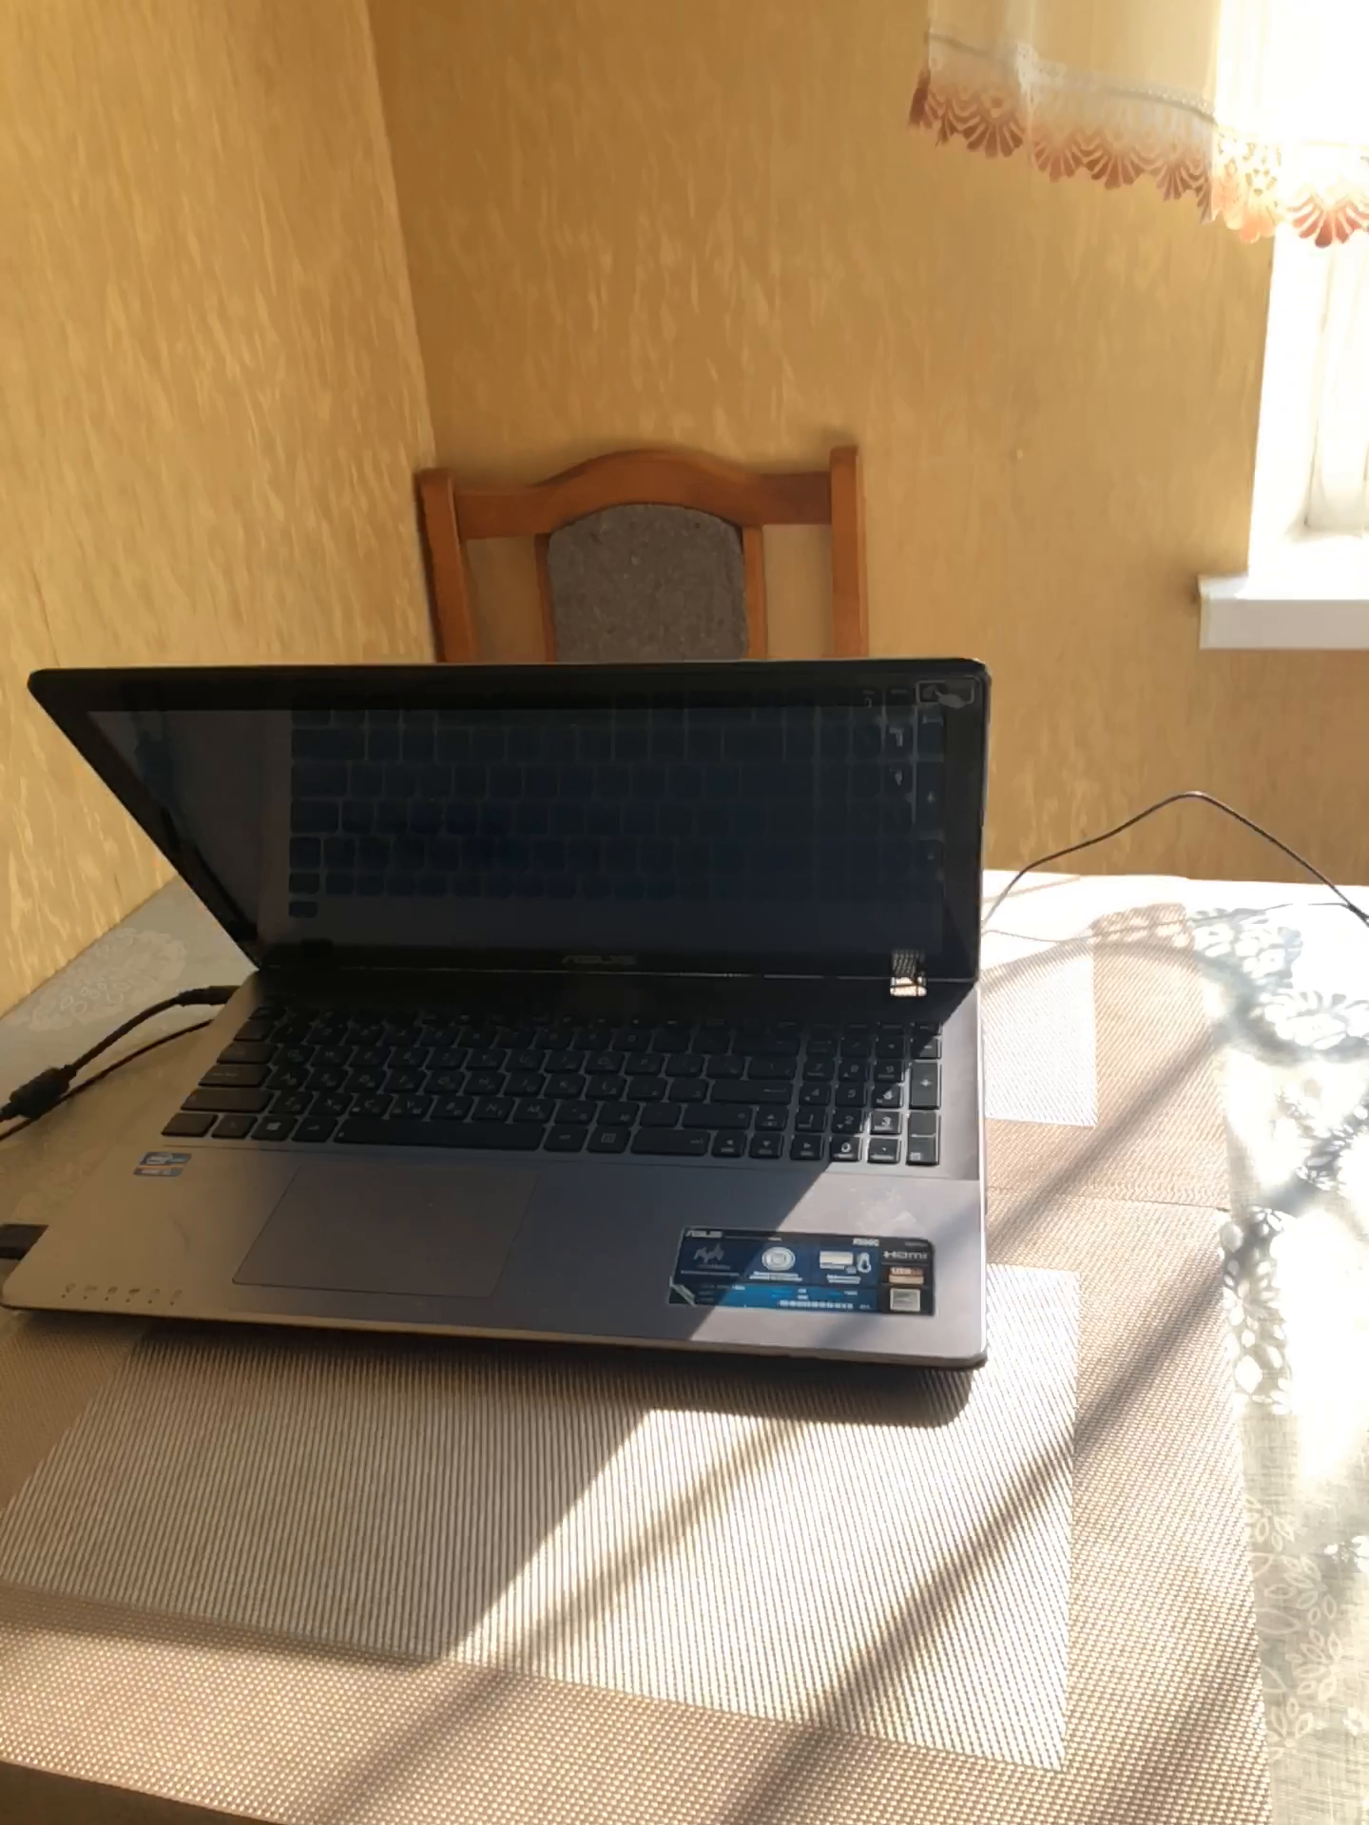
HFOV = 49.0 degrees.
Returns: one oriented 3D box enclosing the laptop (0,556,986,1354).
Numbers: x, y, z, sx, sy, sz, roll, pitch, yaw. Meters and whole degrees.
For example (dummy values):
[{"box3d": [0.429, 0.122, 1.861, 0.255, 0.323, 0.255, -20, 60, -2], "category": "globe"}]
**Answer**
[{"box3d": [-0.069, -0.002, 0.589, 0.361, 0.200, 0.245, 0, 27, 10], "category": "laptop"}]
